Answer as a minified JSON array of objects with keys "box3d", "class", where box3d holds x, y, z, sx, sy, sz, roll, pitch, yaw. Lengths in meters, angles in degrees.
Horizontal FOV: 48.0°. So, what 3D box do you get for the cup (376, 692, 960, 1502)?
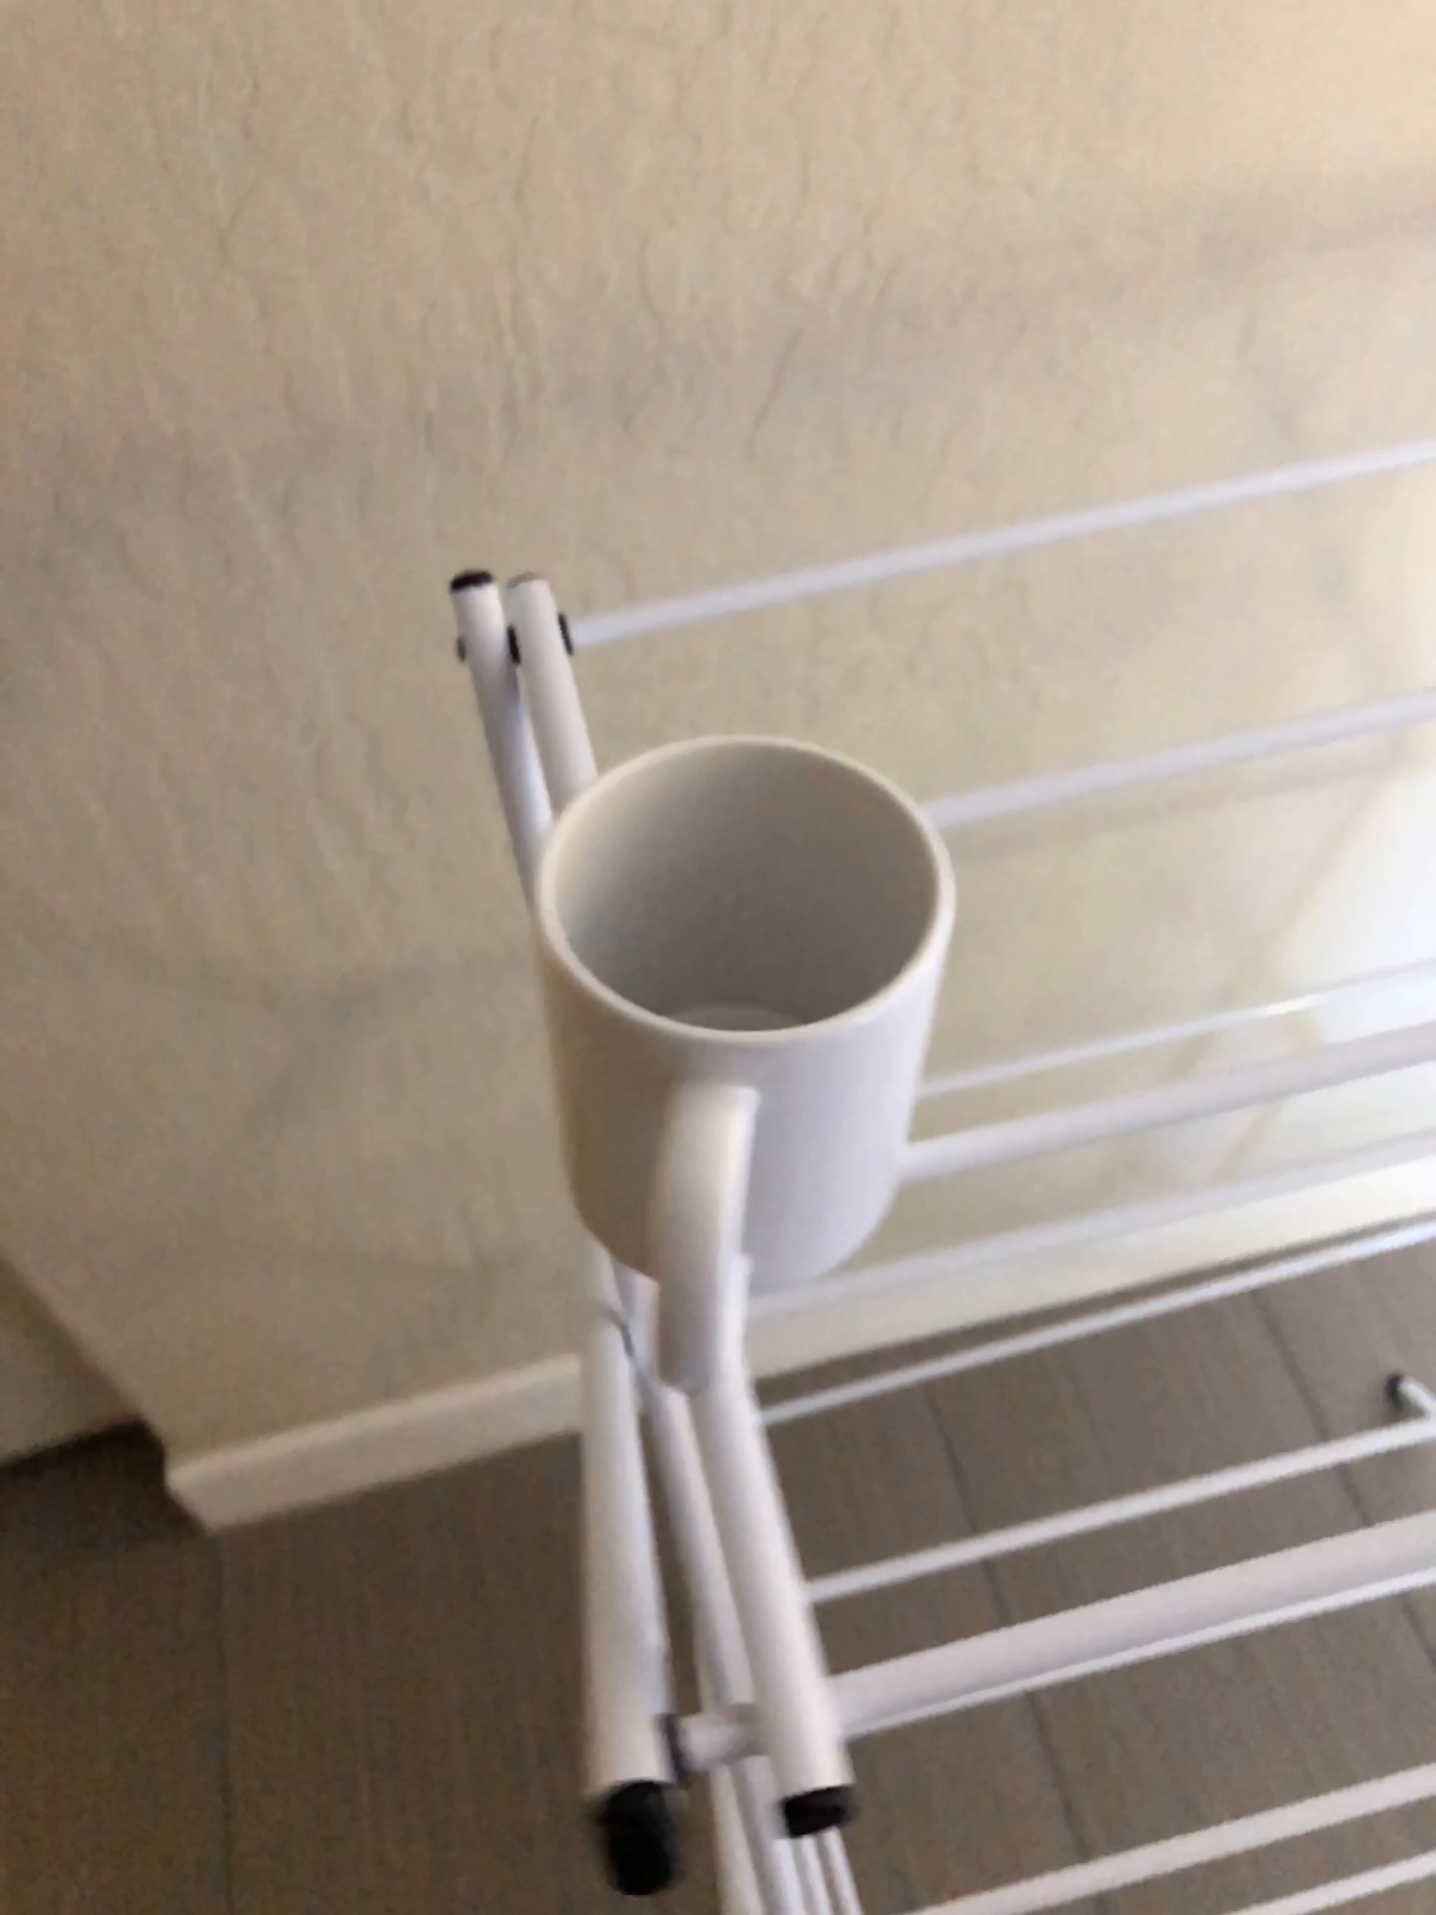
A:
[{"box3d":[-0.003,0.026,0.333,0.090,0.090,0.130,6,49,5],"class":"cup"}]
